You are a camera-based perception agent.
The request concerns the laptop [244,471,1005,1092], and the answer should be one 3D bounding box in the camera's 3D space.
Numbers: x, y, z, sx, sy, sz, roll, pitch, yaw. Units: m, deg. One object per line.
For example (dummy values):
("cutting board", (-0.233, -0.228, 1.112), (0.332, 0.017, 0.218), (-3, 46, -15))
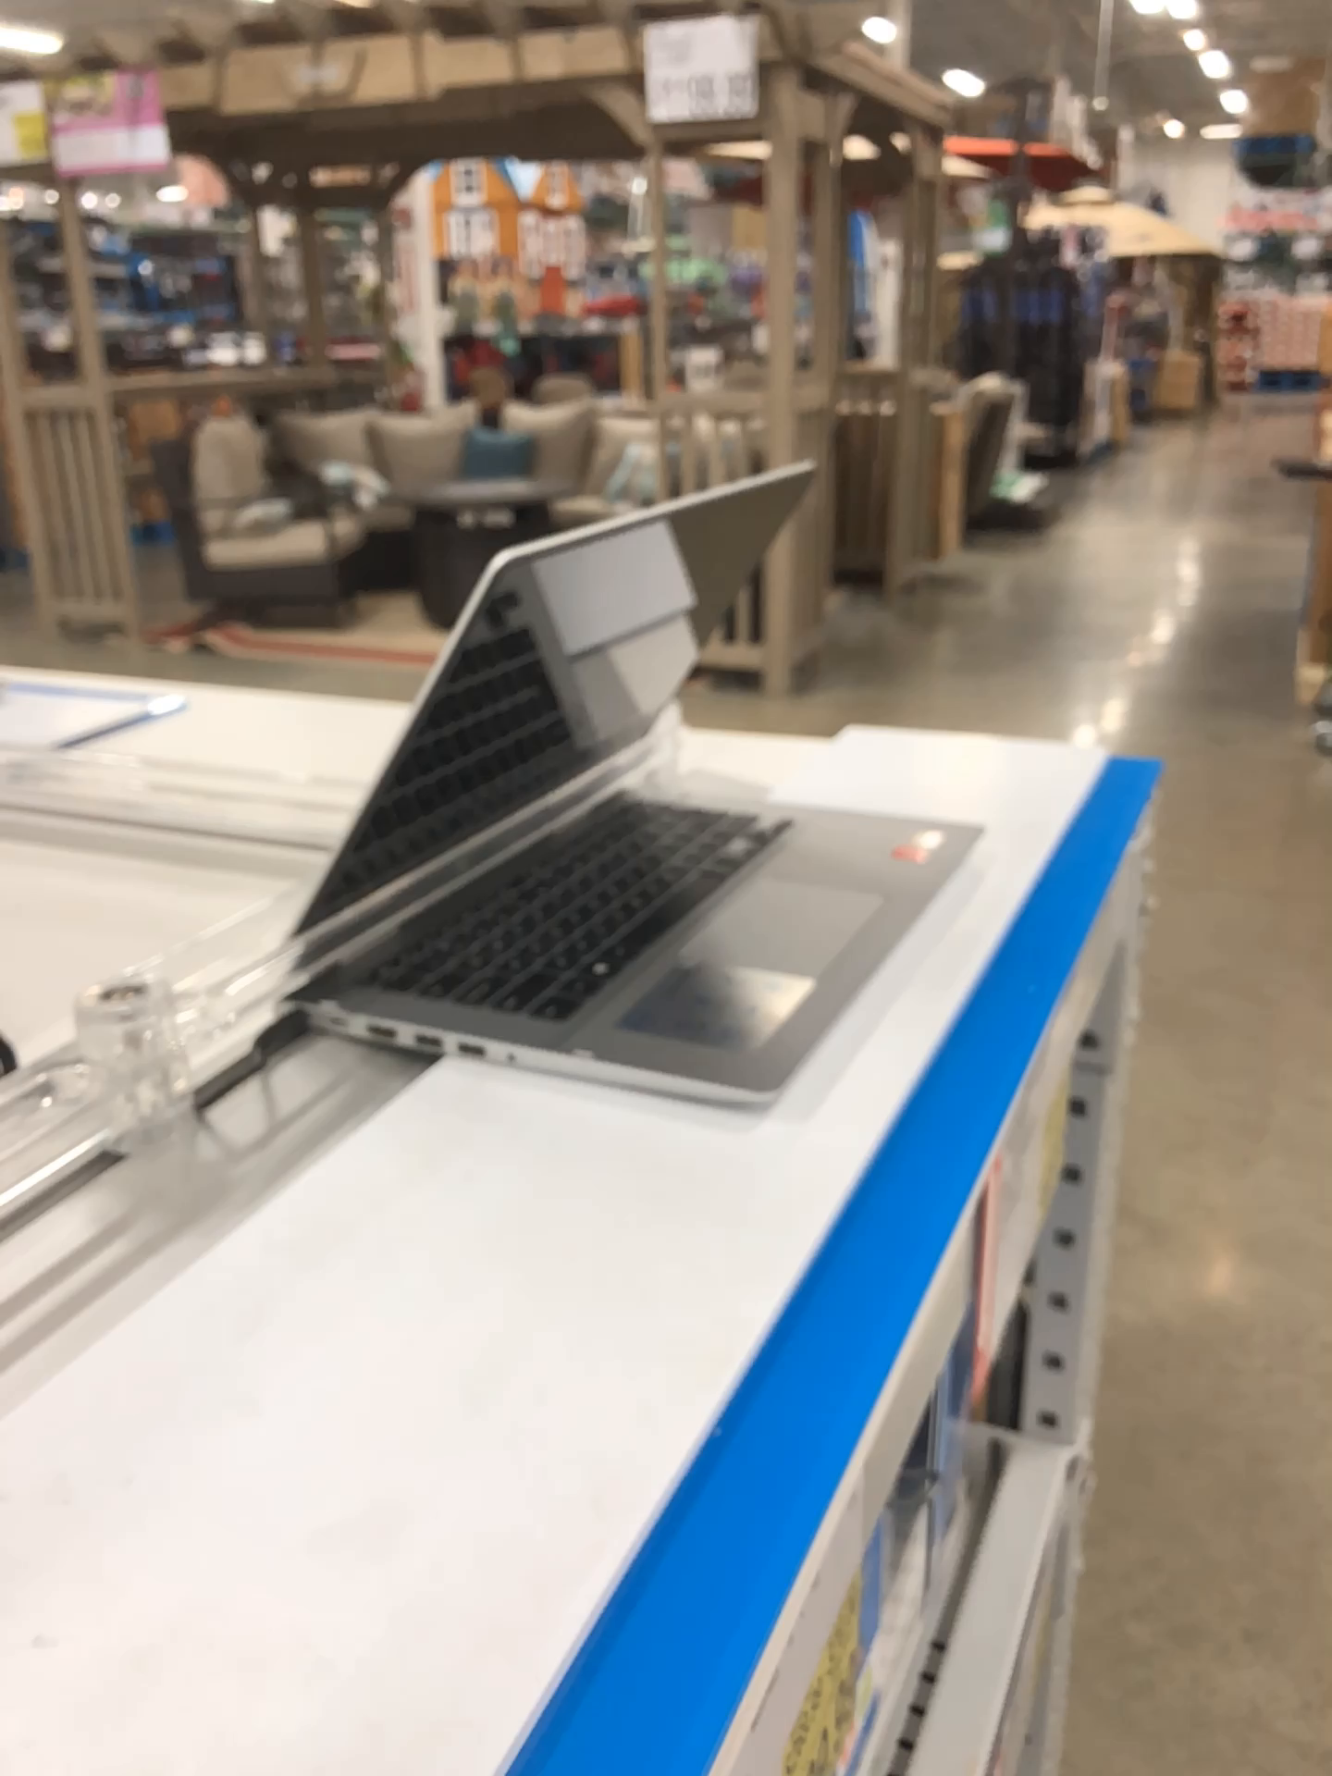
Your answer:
("laptop", (0.007, -0.077, 0.672), (0.210, 0.183, 0.308), (8, 23, 23))
